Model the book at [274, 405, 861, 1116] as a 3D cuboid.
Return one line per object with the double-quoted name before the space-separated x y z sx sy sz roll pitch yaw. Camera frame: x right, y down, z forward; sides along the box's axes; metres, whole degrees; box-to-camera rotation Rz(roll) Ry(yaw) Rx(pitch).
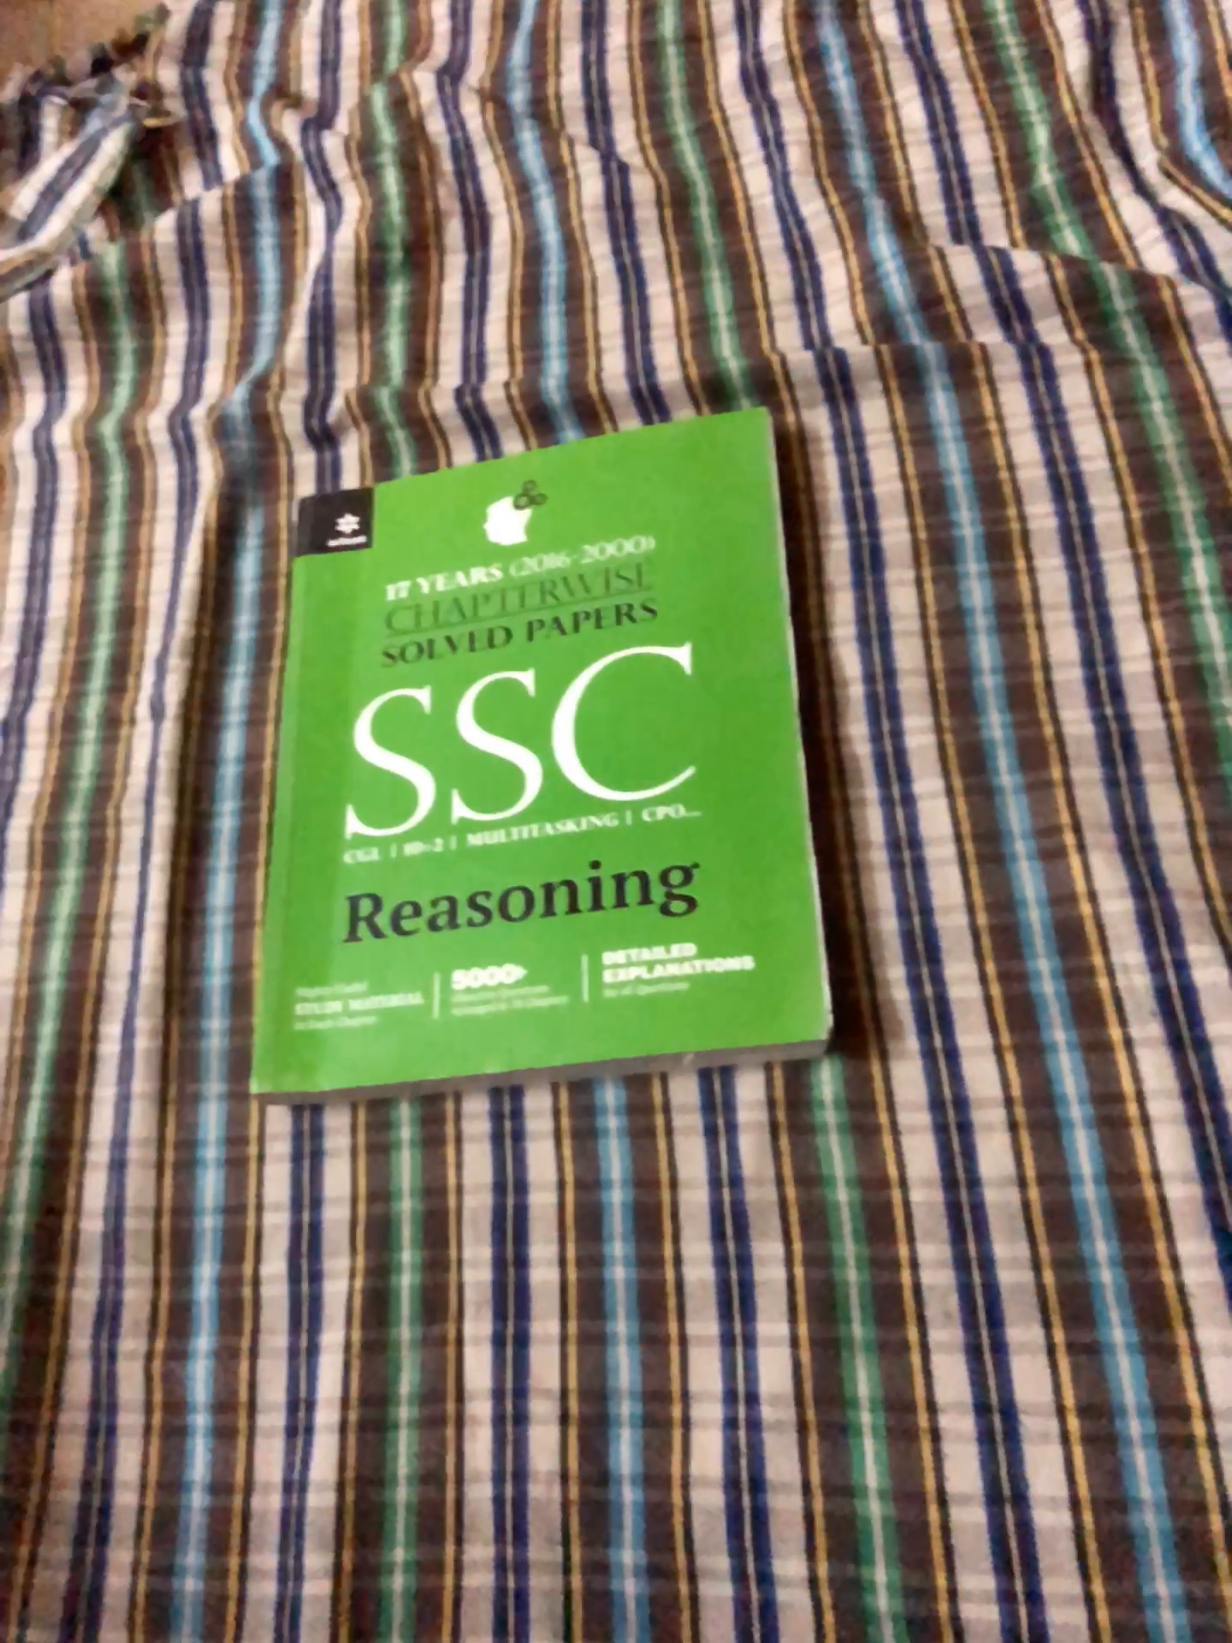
"book" -0.022 -0.028 0.552 0.210 0.040 0.270 -7 65 13
